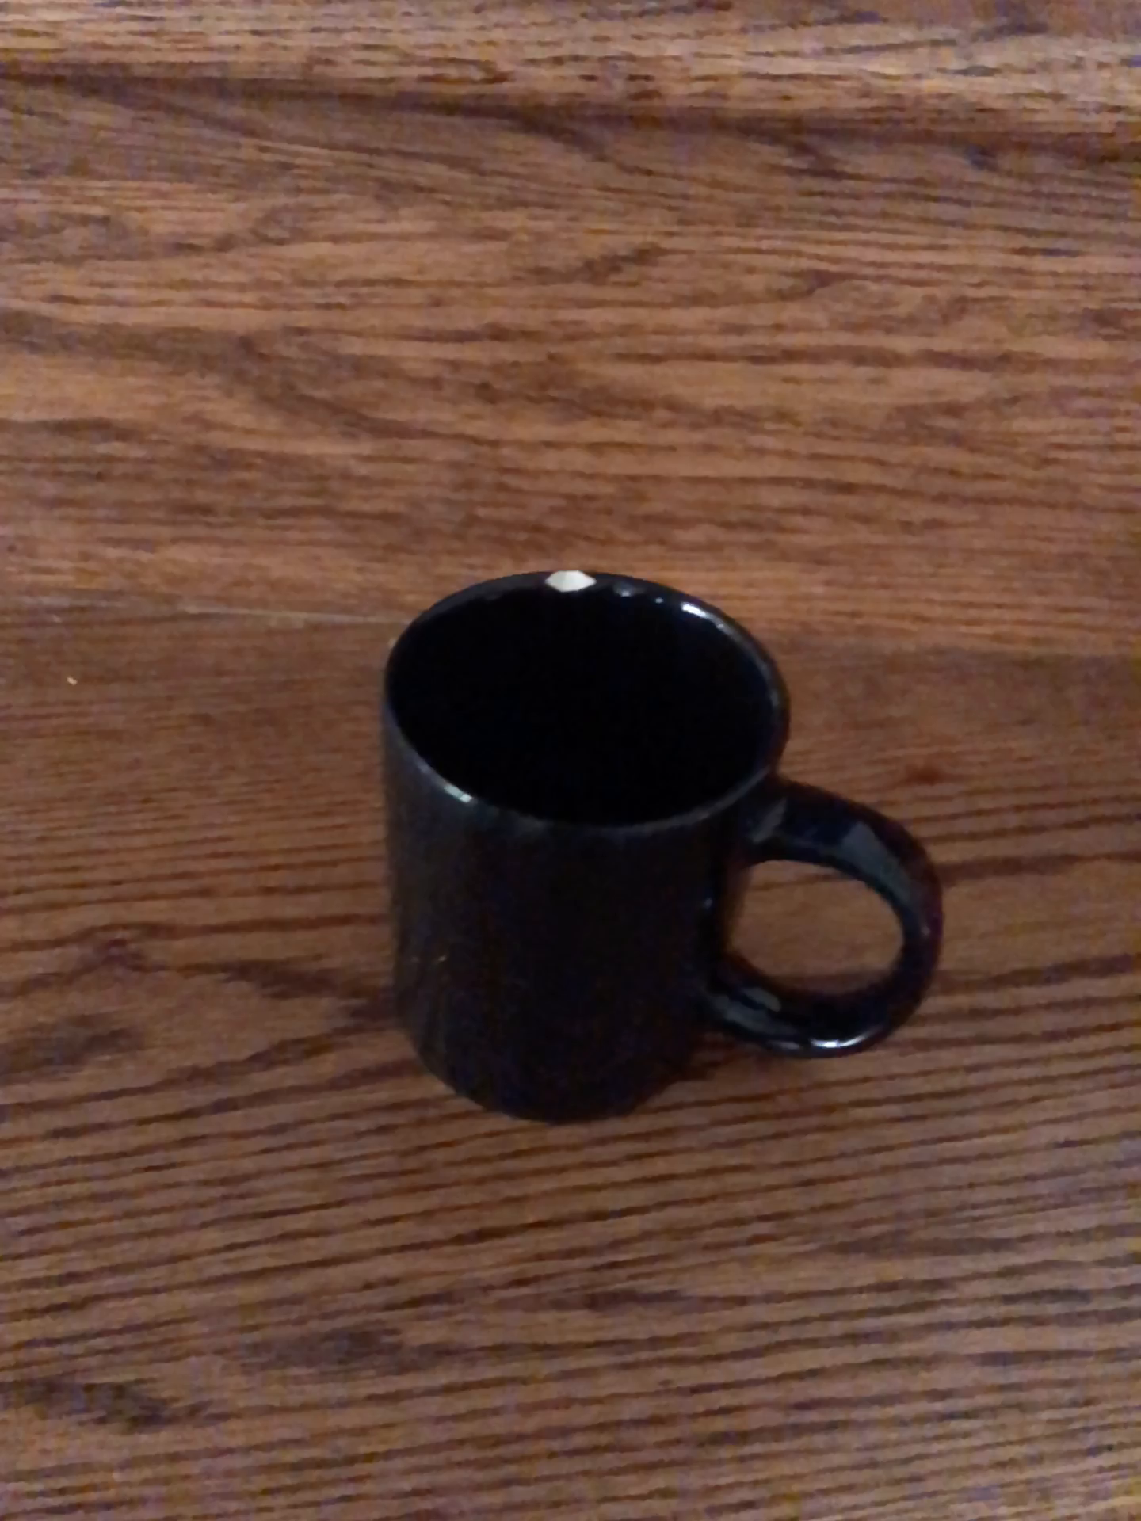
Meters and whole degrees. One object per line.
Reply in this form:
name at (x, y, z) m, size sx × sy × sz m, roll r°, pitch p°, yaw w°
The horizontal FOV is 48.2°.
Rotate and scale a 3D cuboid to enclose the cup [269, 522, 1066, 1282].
cup at (0.022, 0.028, 0.277) m, size 0.135 × 0.095 × 0.092 m, roll 15°, pitch 44°, yaw 9°
